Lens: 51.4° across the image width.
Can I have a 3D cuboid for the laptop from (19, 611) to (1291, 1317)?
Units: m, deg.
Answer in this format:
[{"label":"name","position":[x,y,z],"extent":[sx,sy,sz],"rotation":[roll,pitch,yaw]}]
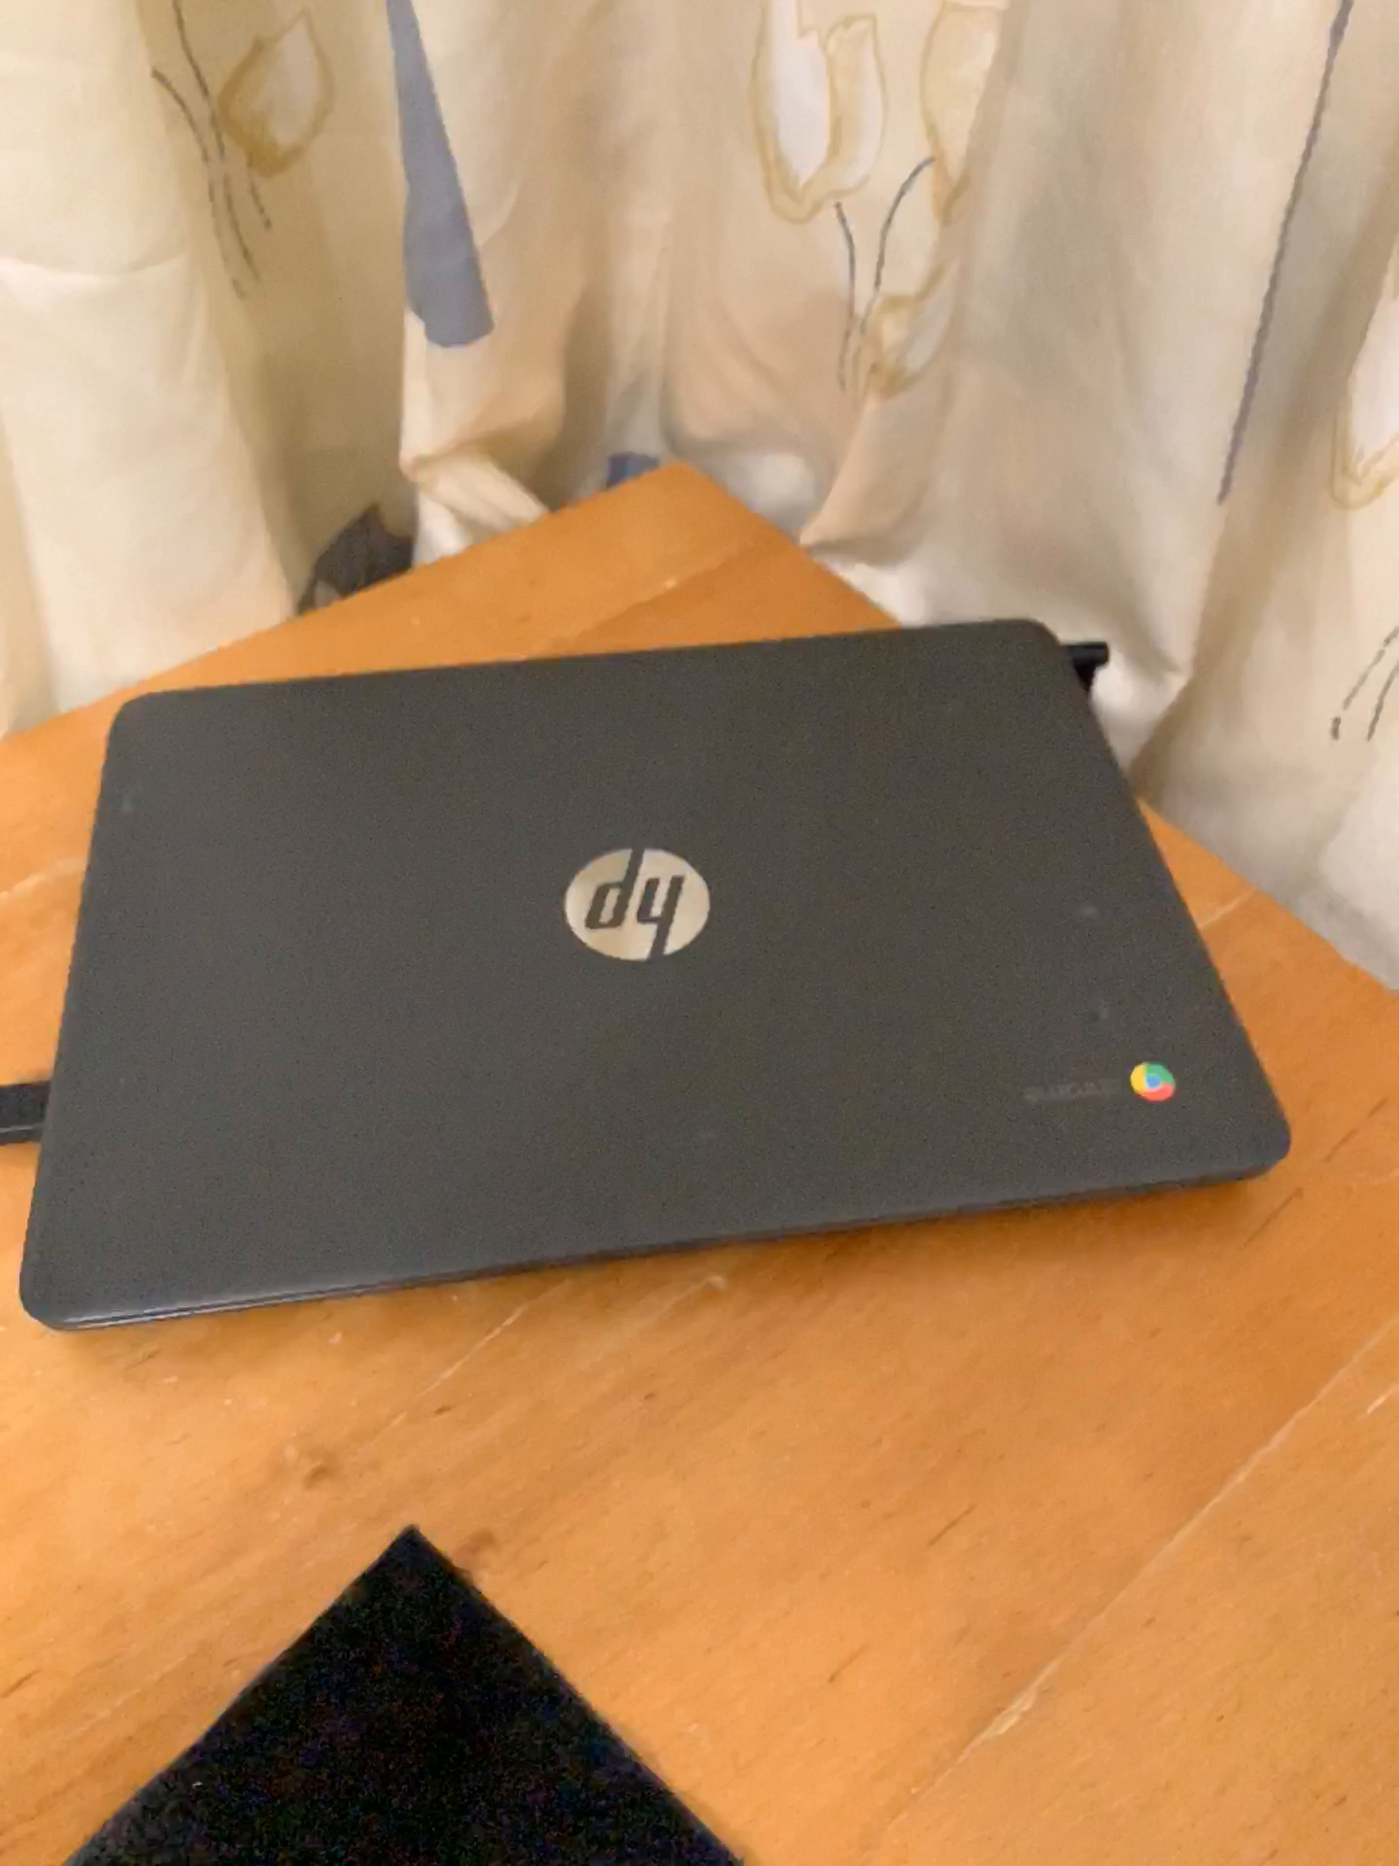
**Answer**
[{"label":"laptop","position":[-0.017,-0.010,0.357],"extent":[0.261,0.004,0.186],"rotation":[-6,49,-5]}]
